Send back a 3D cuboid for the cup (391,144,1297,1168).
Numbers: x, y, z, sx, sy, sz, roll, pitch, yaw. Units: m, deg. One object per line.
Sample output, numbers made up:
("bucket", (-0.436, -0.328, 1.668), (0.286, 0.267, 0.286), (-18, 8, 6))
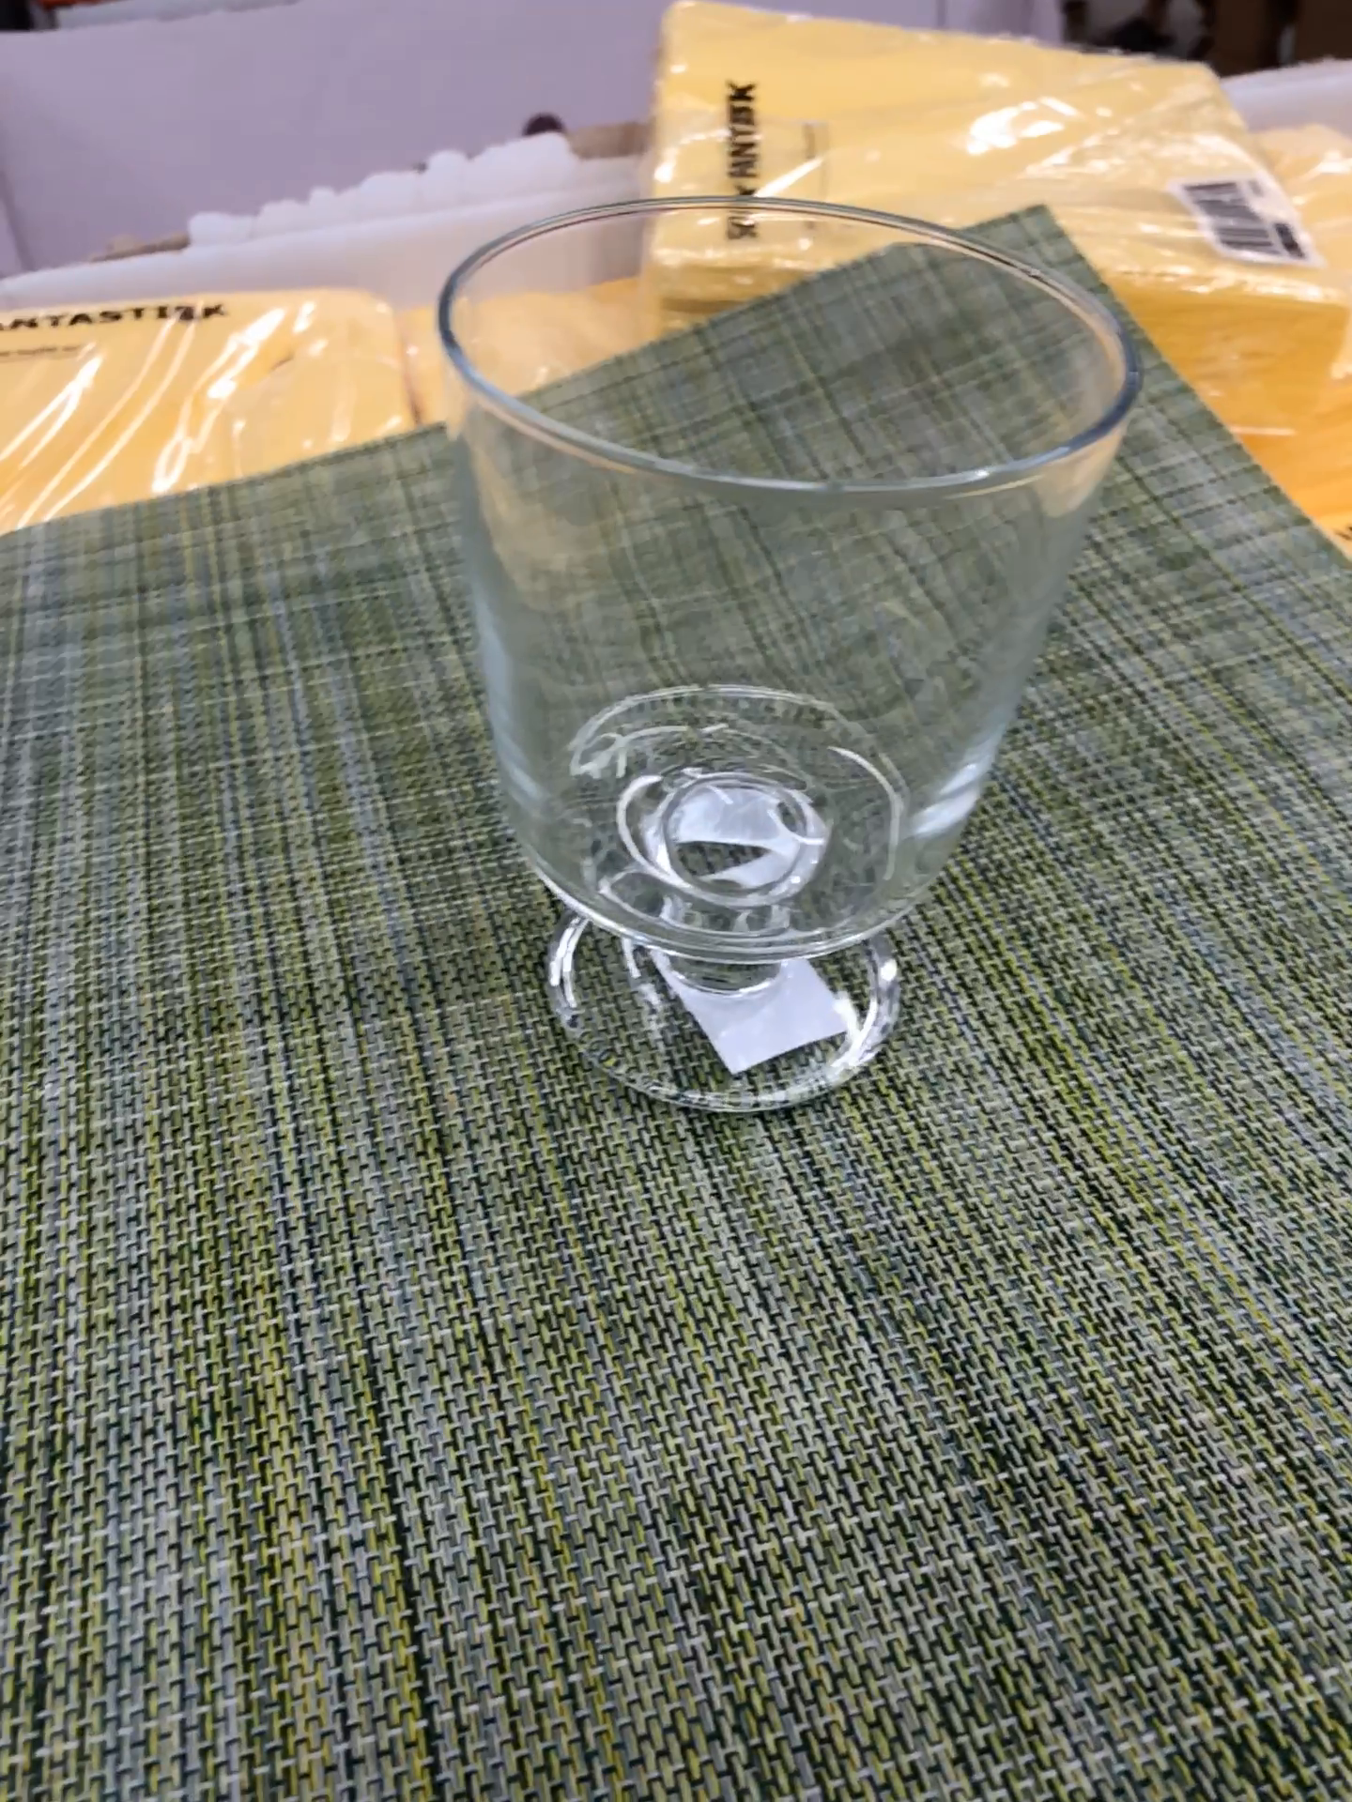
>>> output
("cup", (0.012, -0.032, 0.219), (0.090, 0.110, 0.090), (3, 44, -3))
